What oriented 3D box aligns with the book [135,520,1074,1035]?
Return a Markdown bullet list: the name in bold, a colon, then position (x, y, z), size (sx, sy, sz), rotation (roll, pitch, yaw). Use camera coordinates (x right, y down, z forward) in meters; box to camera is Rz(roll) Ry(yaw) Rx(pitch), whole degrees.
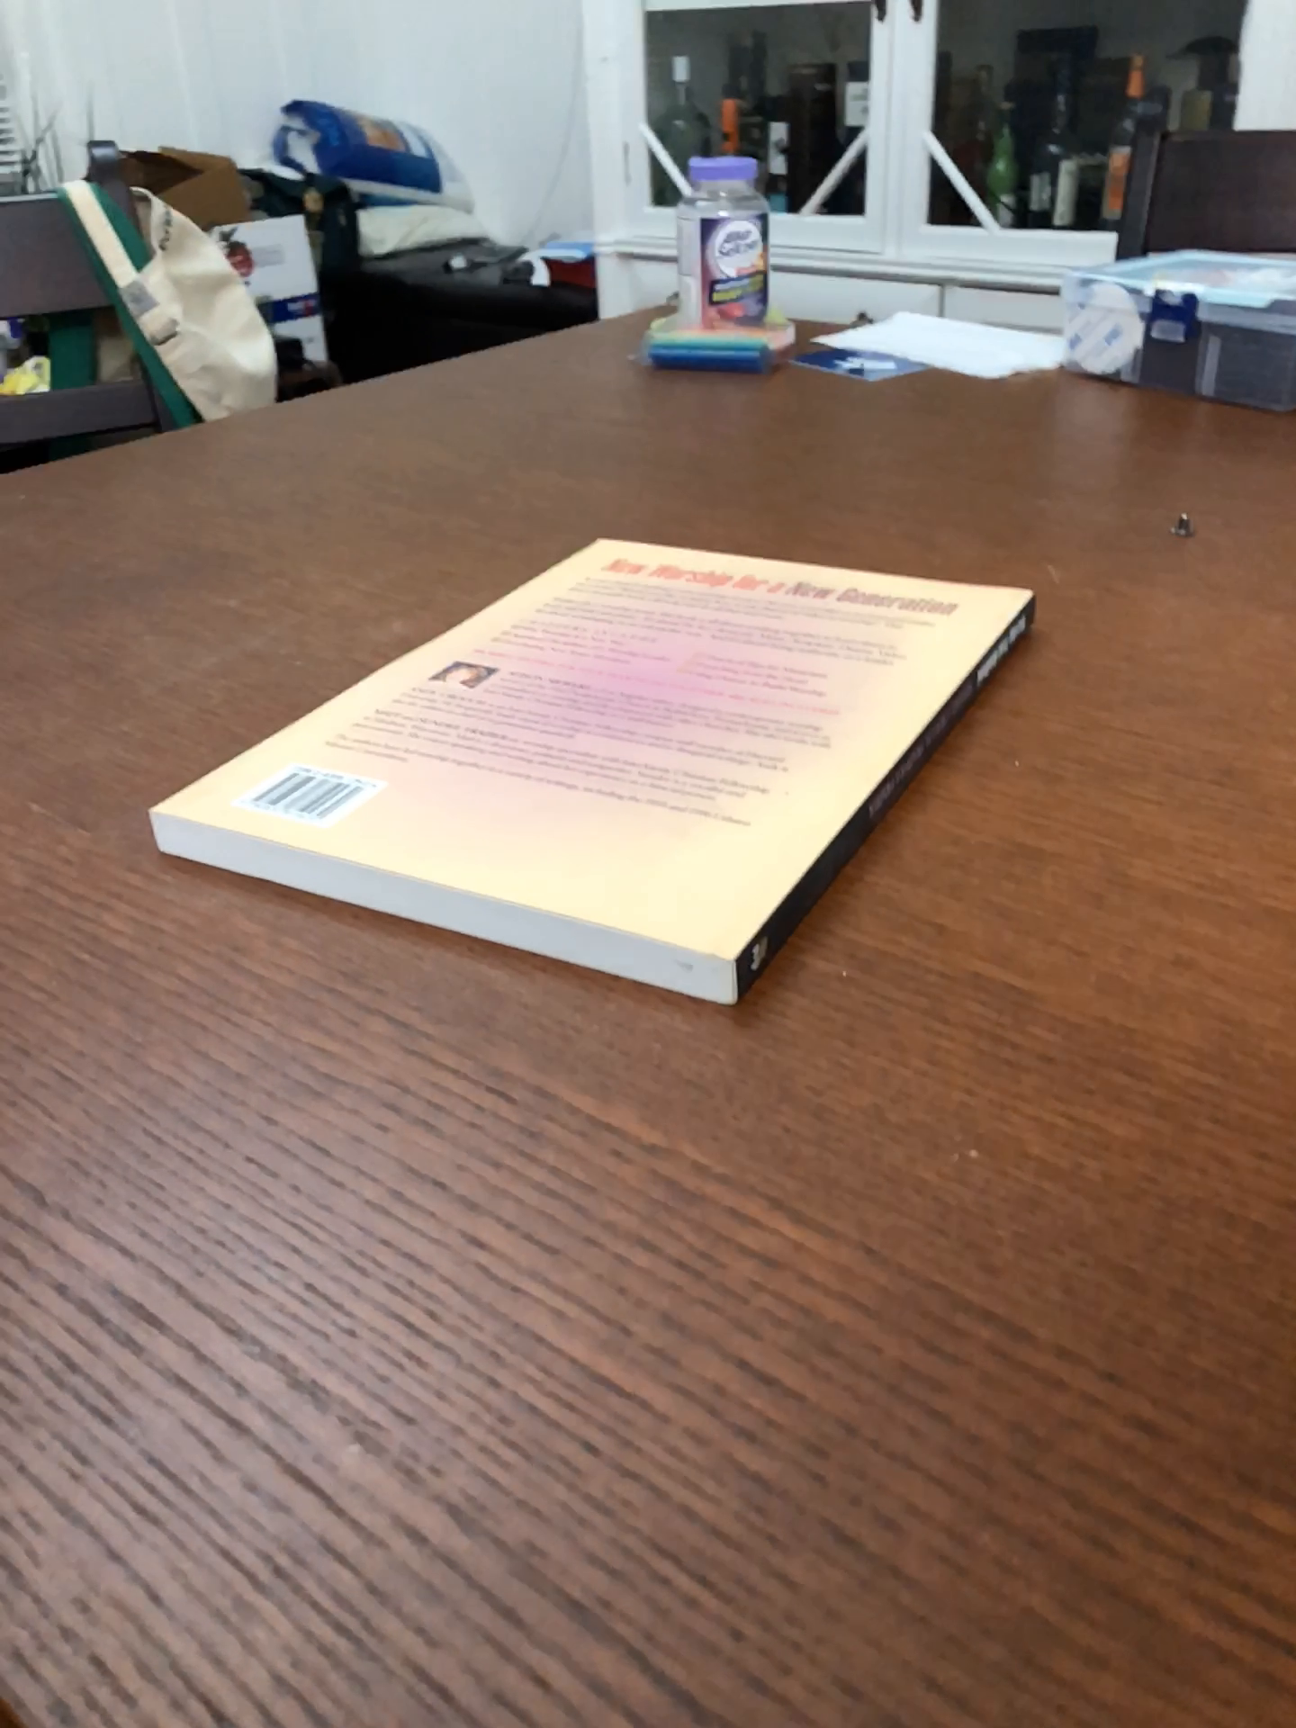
- **book**: position (0.007, -0.053, 0.457), size (0.190, 0.020, 0.271), rotation (13, 34, 25)
